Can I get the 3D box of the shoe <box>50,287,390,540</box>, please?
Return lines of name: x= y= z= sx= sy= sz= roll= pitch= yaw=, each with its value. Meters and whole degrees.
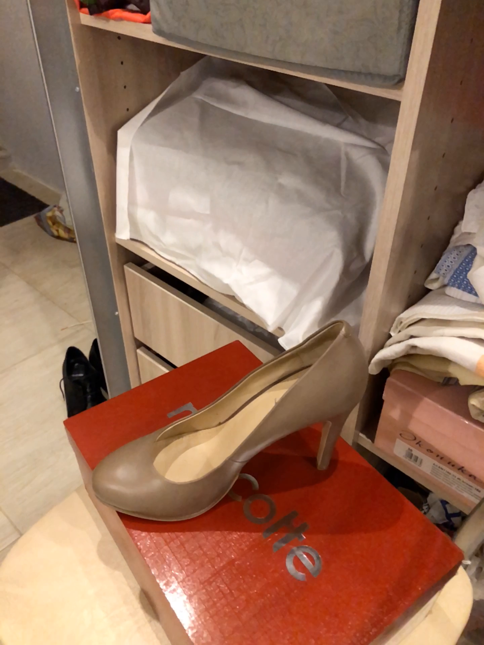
shoe: x=-0.017 y=0.068 z=0.407 sx=0.214 sy=0.145 sz=0.084 roll=-7 pitch=39 yaw=-10
